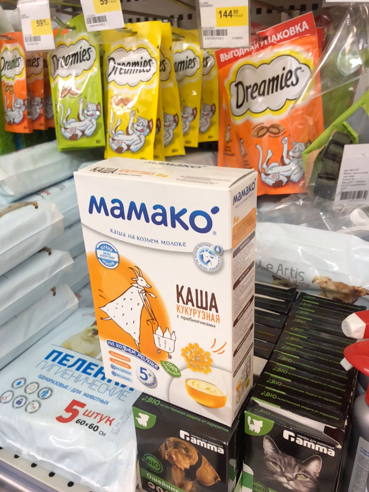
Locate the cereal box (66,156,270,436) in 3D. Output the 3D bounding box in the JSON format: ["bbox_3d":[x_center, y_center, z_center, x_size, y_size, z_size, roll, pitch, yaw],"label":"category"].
[{"bbox_3d":[-0.012,0.037,0.332,0.140,0.199,0.050,11,27,27],"label":"cereal box"}]
